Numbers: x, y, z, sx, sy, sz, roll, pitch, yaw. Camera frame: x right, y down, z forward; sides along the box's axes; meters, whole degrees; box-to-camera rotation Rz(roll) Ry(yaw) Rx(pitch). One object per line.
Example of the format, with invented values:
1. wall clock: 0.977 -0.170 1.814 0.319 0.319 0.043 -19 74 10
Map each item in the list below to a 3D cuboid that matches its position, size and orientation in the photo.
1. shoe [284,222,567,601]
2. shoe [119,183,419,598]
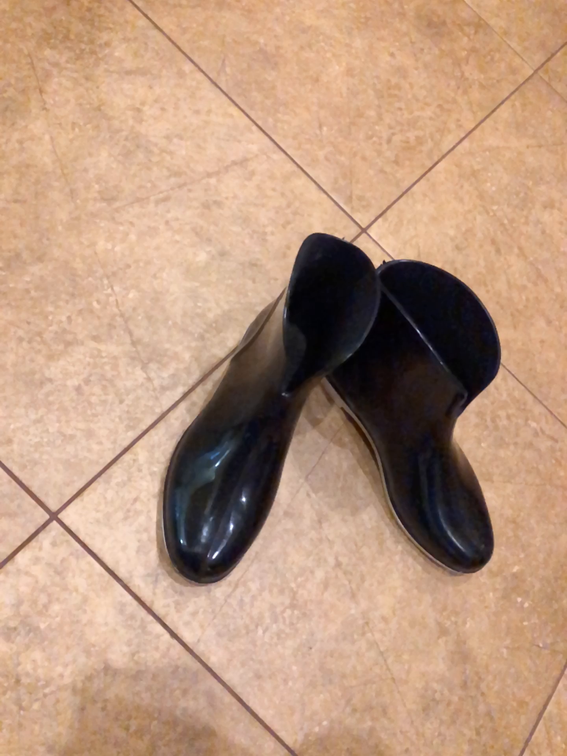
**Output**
1. shoe: 0.124 0.037 0.483 0.090 0.169 0.240 -27 81 -26
2. shoe: -0.014 0.018 0.444 0.090 0.169 0.241 26 64 -8
